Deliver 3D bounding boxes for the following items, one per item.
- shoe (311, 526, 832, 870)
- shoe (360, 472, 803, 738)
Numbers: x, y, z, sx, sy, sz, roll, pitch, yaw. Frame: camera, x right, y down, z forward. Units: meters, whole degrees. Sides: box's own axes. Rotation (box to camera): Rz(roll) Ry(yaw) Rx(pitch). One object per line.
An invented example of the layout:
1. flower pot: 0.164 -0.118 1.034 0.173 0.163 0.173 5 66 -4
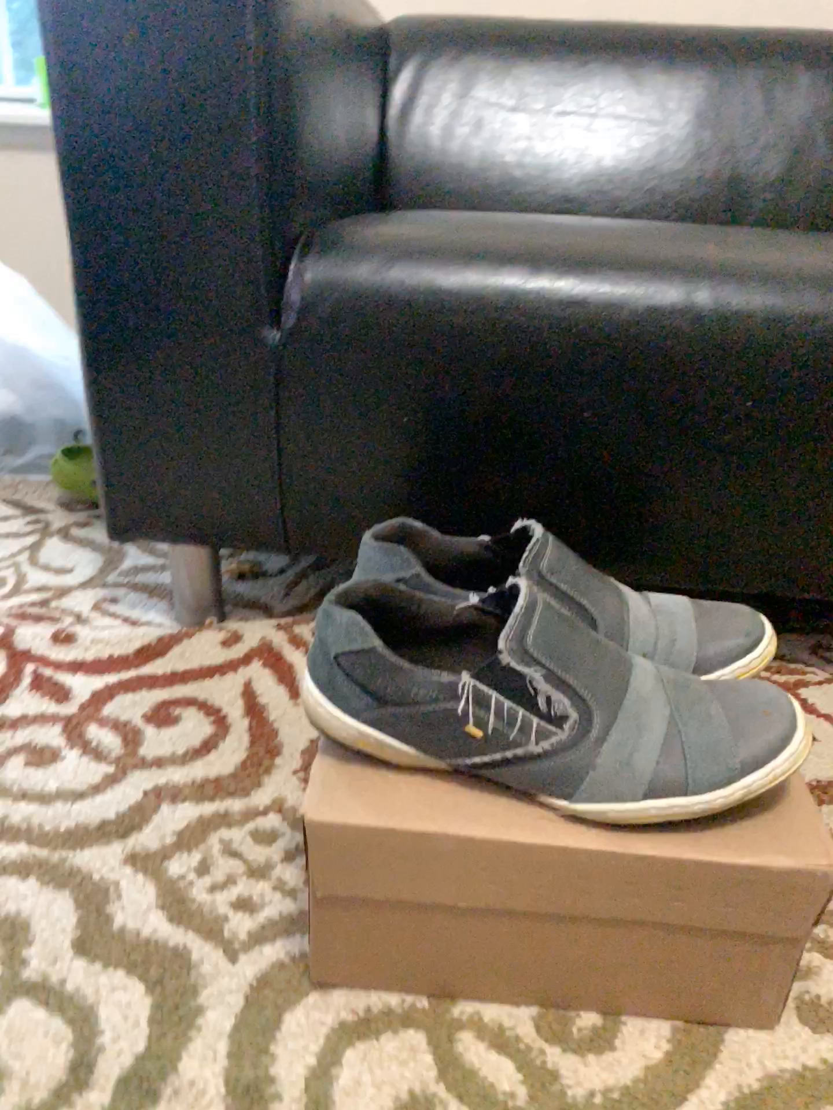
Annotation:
1. shoe: 0.085 0.070 0.493 0.260 0.100 0.141 7 25 9
2. shoe: 0.105 0.025 0.593 0.260 0.100 0.141 7 25 9
